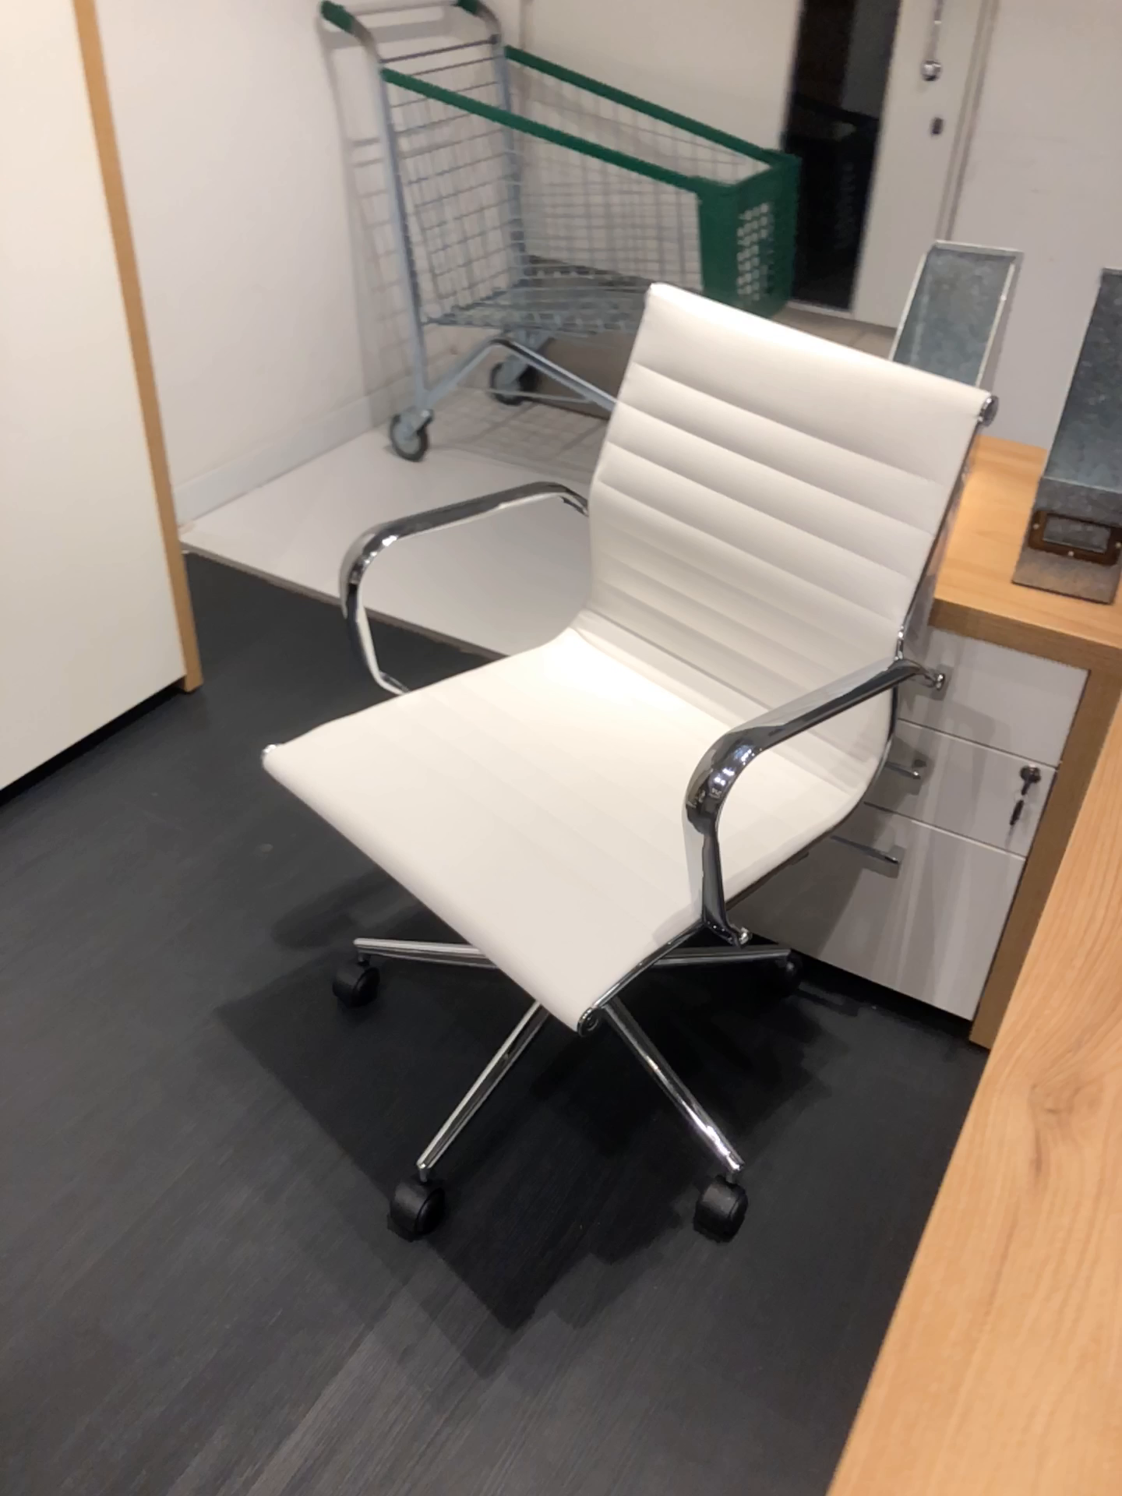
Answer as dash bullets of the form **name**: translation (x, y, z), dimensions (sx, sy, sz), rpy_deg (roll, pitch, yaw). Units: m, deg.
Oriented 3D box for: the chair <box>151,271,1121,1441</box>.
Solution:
- **chair**: translation (0.096, 0.064, 1.453), dimensions (0.763, 0.952, 0.653), rpy_deg (-25, 44, -33)
